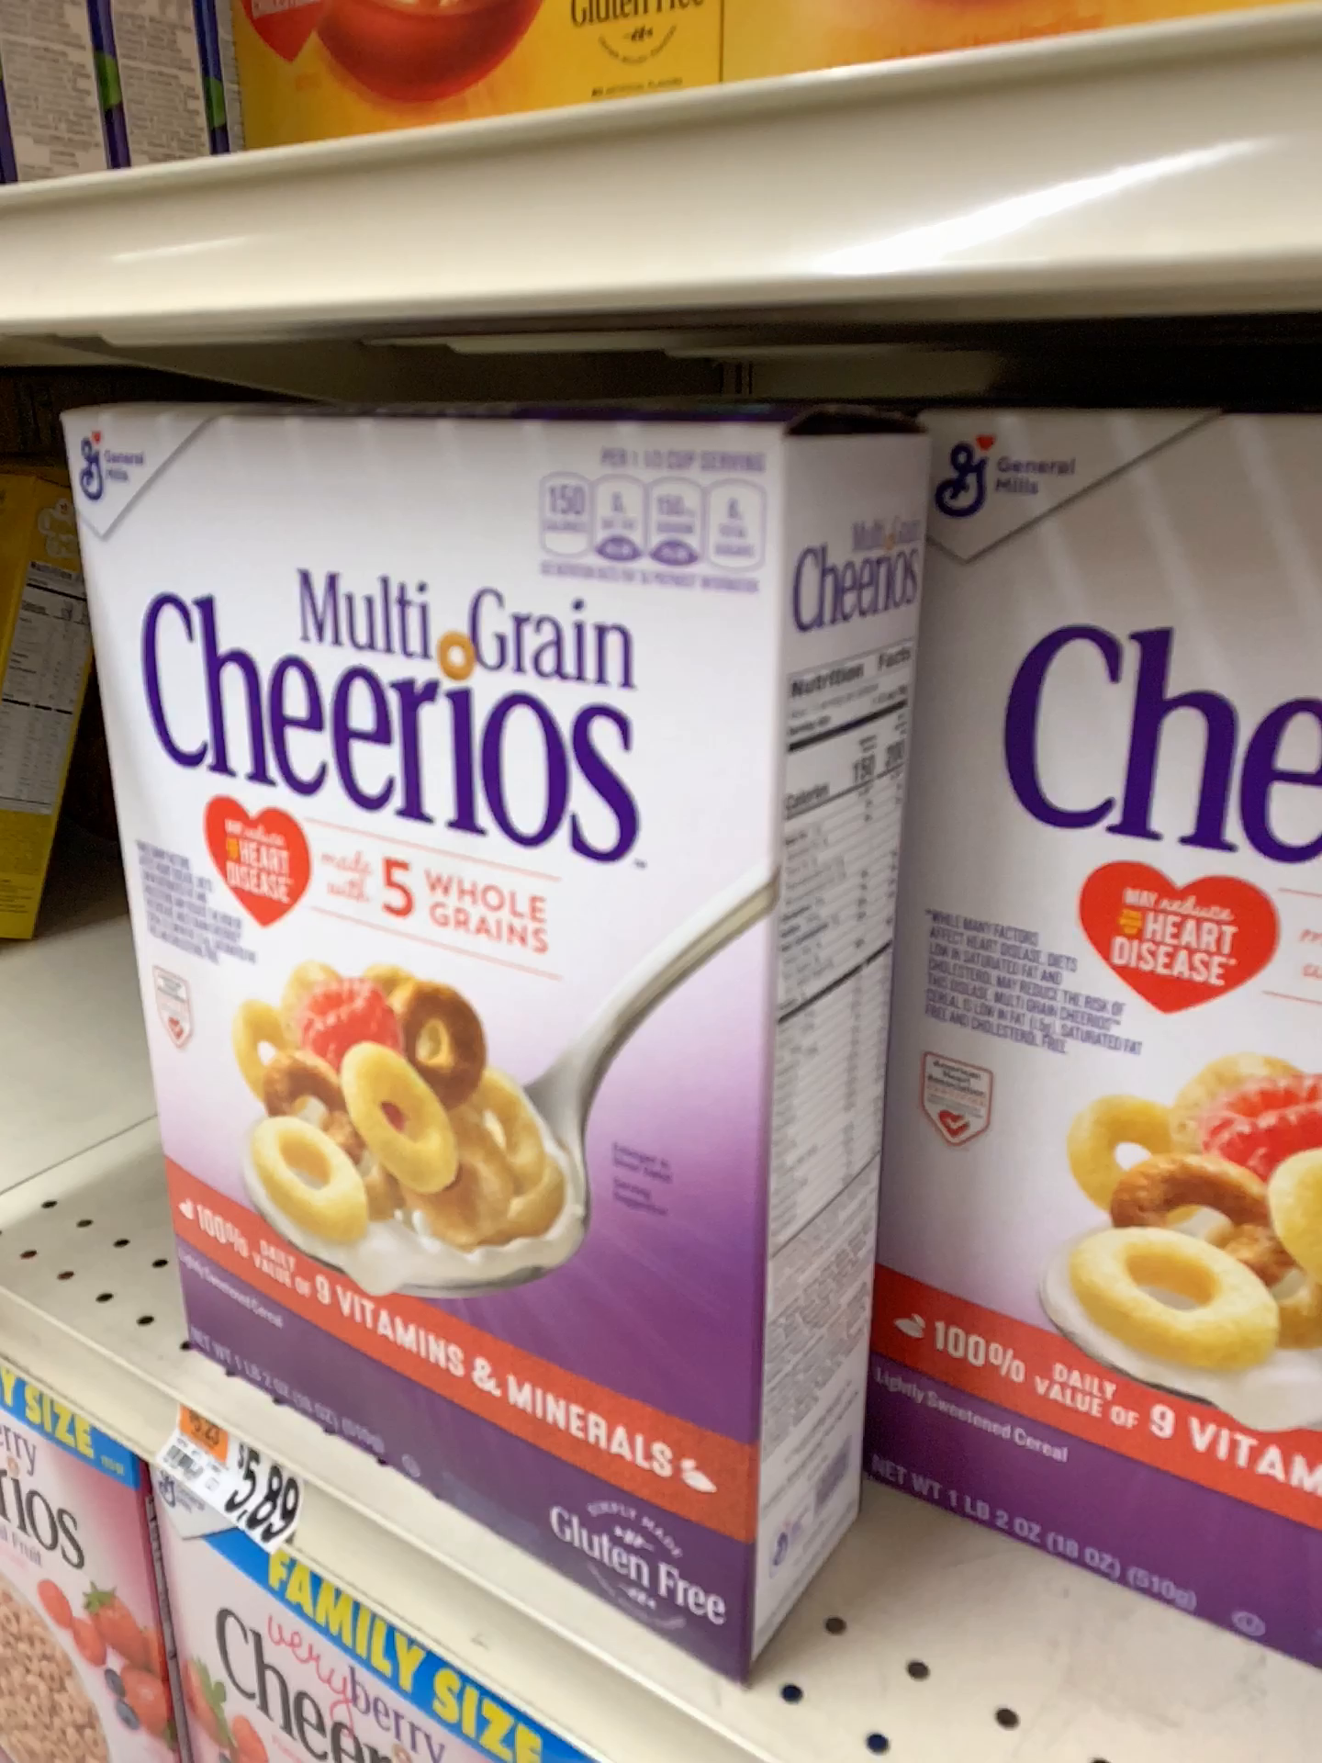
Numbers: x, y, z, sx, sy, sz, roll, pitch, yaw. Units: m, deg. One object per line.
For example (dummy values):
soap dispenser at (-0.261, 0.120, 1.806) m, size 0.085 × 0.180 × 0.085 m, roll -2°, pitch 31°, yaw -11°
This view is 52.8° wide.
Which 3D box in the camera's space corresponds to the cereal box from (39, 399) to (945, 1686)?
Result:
cereal box at (-0.059, 0.027, 0.395) m, size 0.250 × 0.319 × 0.070 m, roll 13°, pitch 22°, yaw 33°
